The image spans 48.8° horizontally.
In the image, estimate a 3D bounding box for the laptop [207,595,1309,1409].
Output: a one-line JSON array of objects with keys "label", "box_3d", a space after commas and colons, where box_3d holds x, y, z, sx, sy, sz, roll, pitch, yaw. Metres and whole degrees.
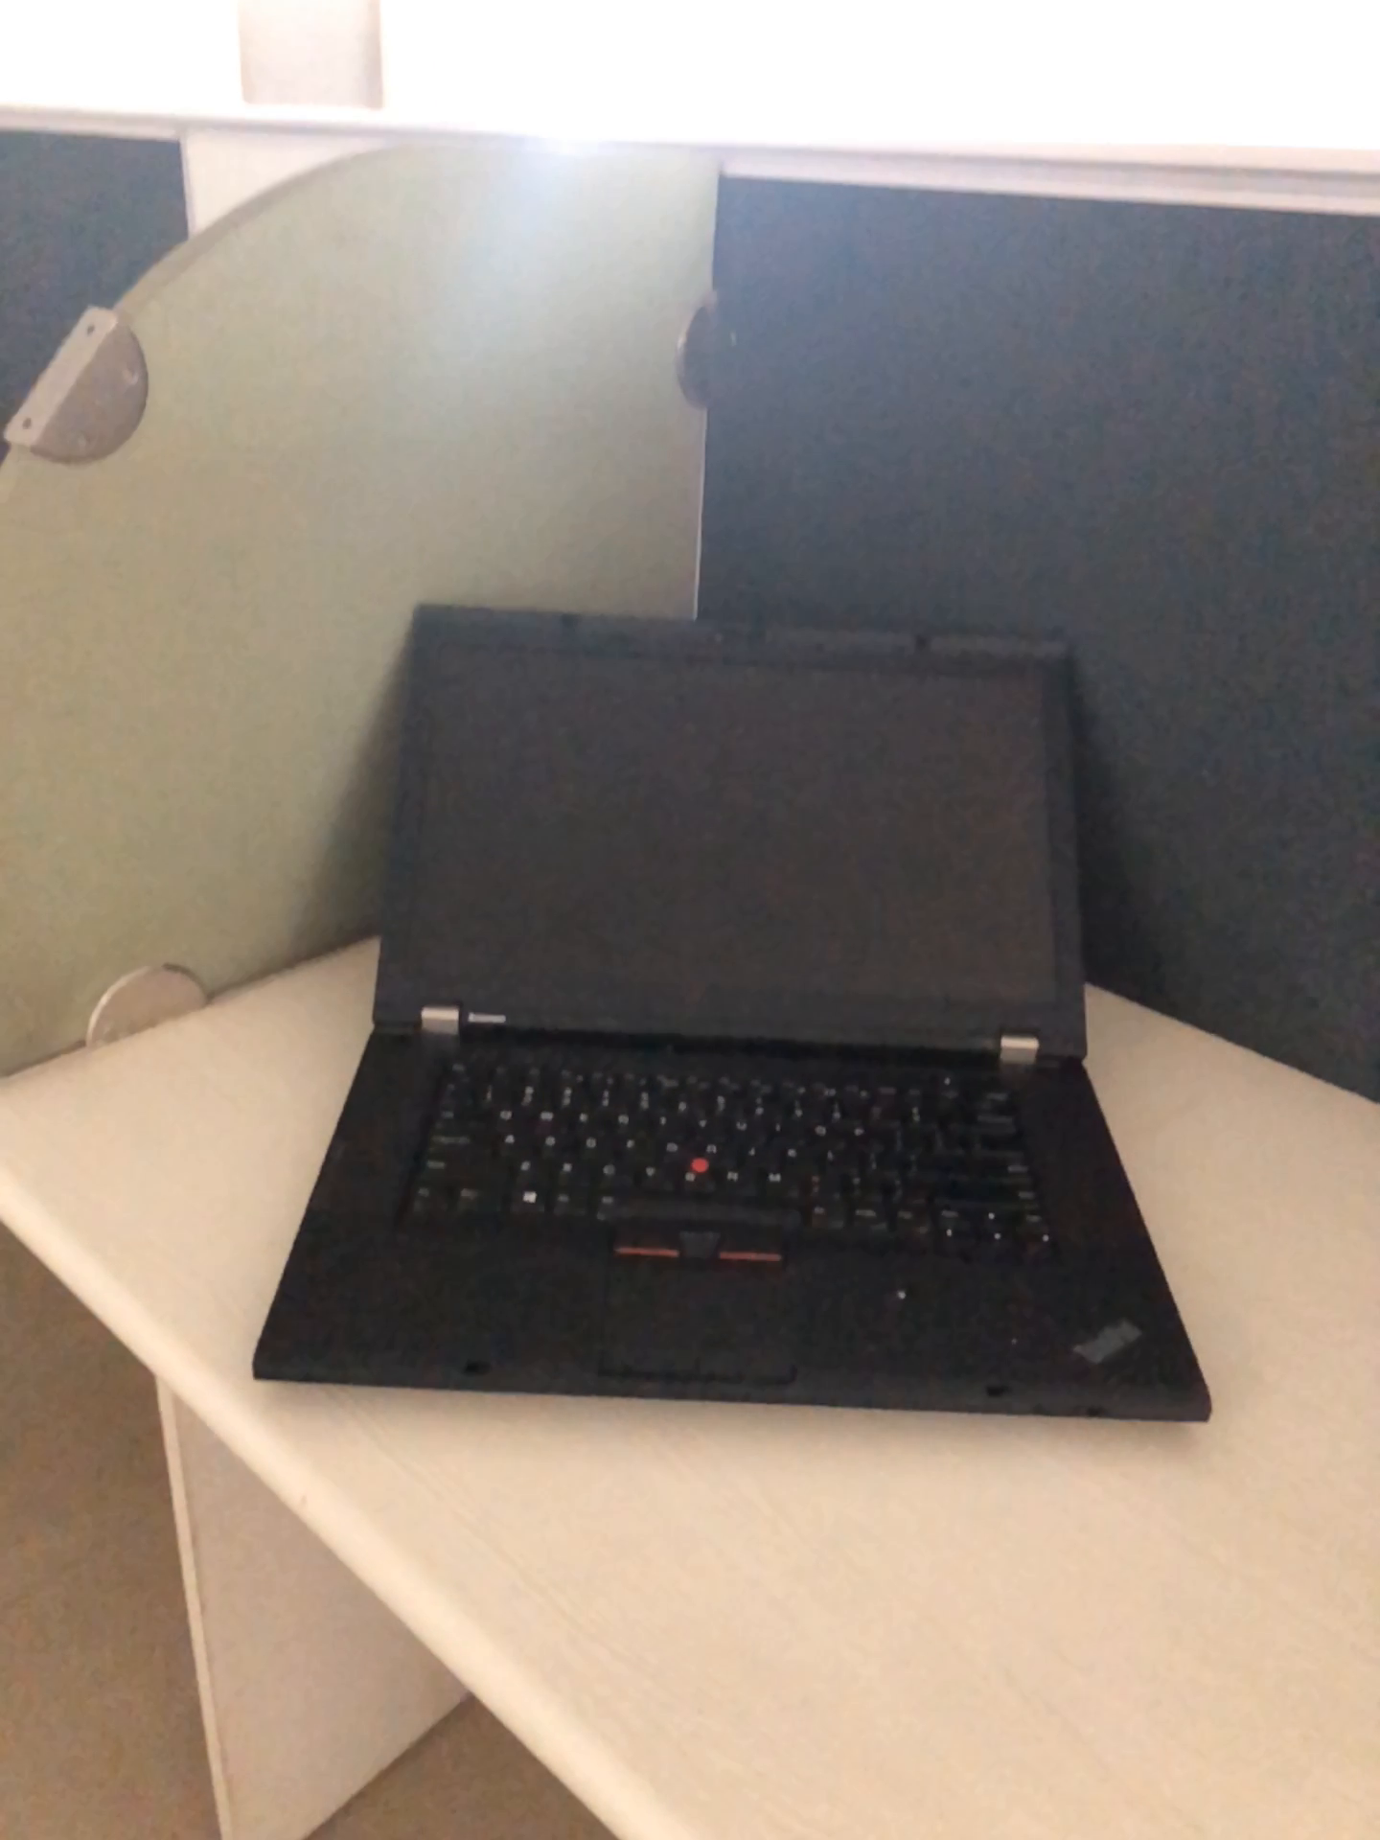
[{"label": "laptop", "box_3d": [0.023, 0.001, 0.704, 0.355, 0.167, 0.407, 3, 29, 0]}]
